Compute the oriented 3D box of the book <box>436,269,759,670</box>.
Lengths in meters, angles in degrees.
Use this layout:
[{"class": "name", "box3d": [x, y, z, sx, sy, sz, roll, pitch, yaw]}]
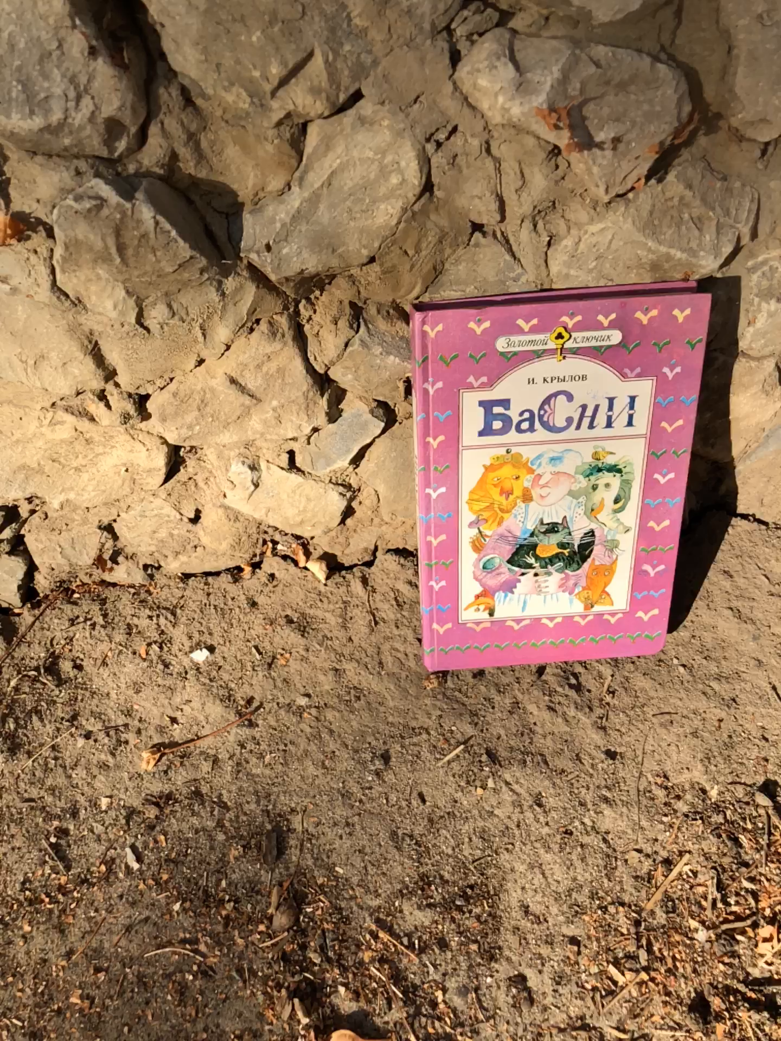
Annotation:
[{"class": "book", "box3d": [0.095, -0.019, 0.435, 0.141, 0.201, 0.025, -4, 27, -4]}]
